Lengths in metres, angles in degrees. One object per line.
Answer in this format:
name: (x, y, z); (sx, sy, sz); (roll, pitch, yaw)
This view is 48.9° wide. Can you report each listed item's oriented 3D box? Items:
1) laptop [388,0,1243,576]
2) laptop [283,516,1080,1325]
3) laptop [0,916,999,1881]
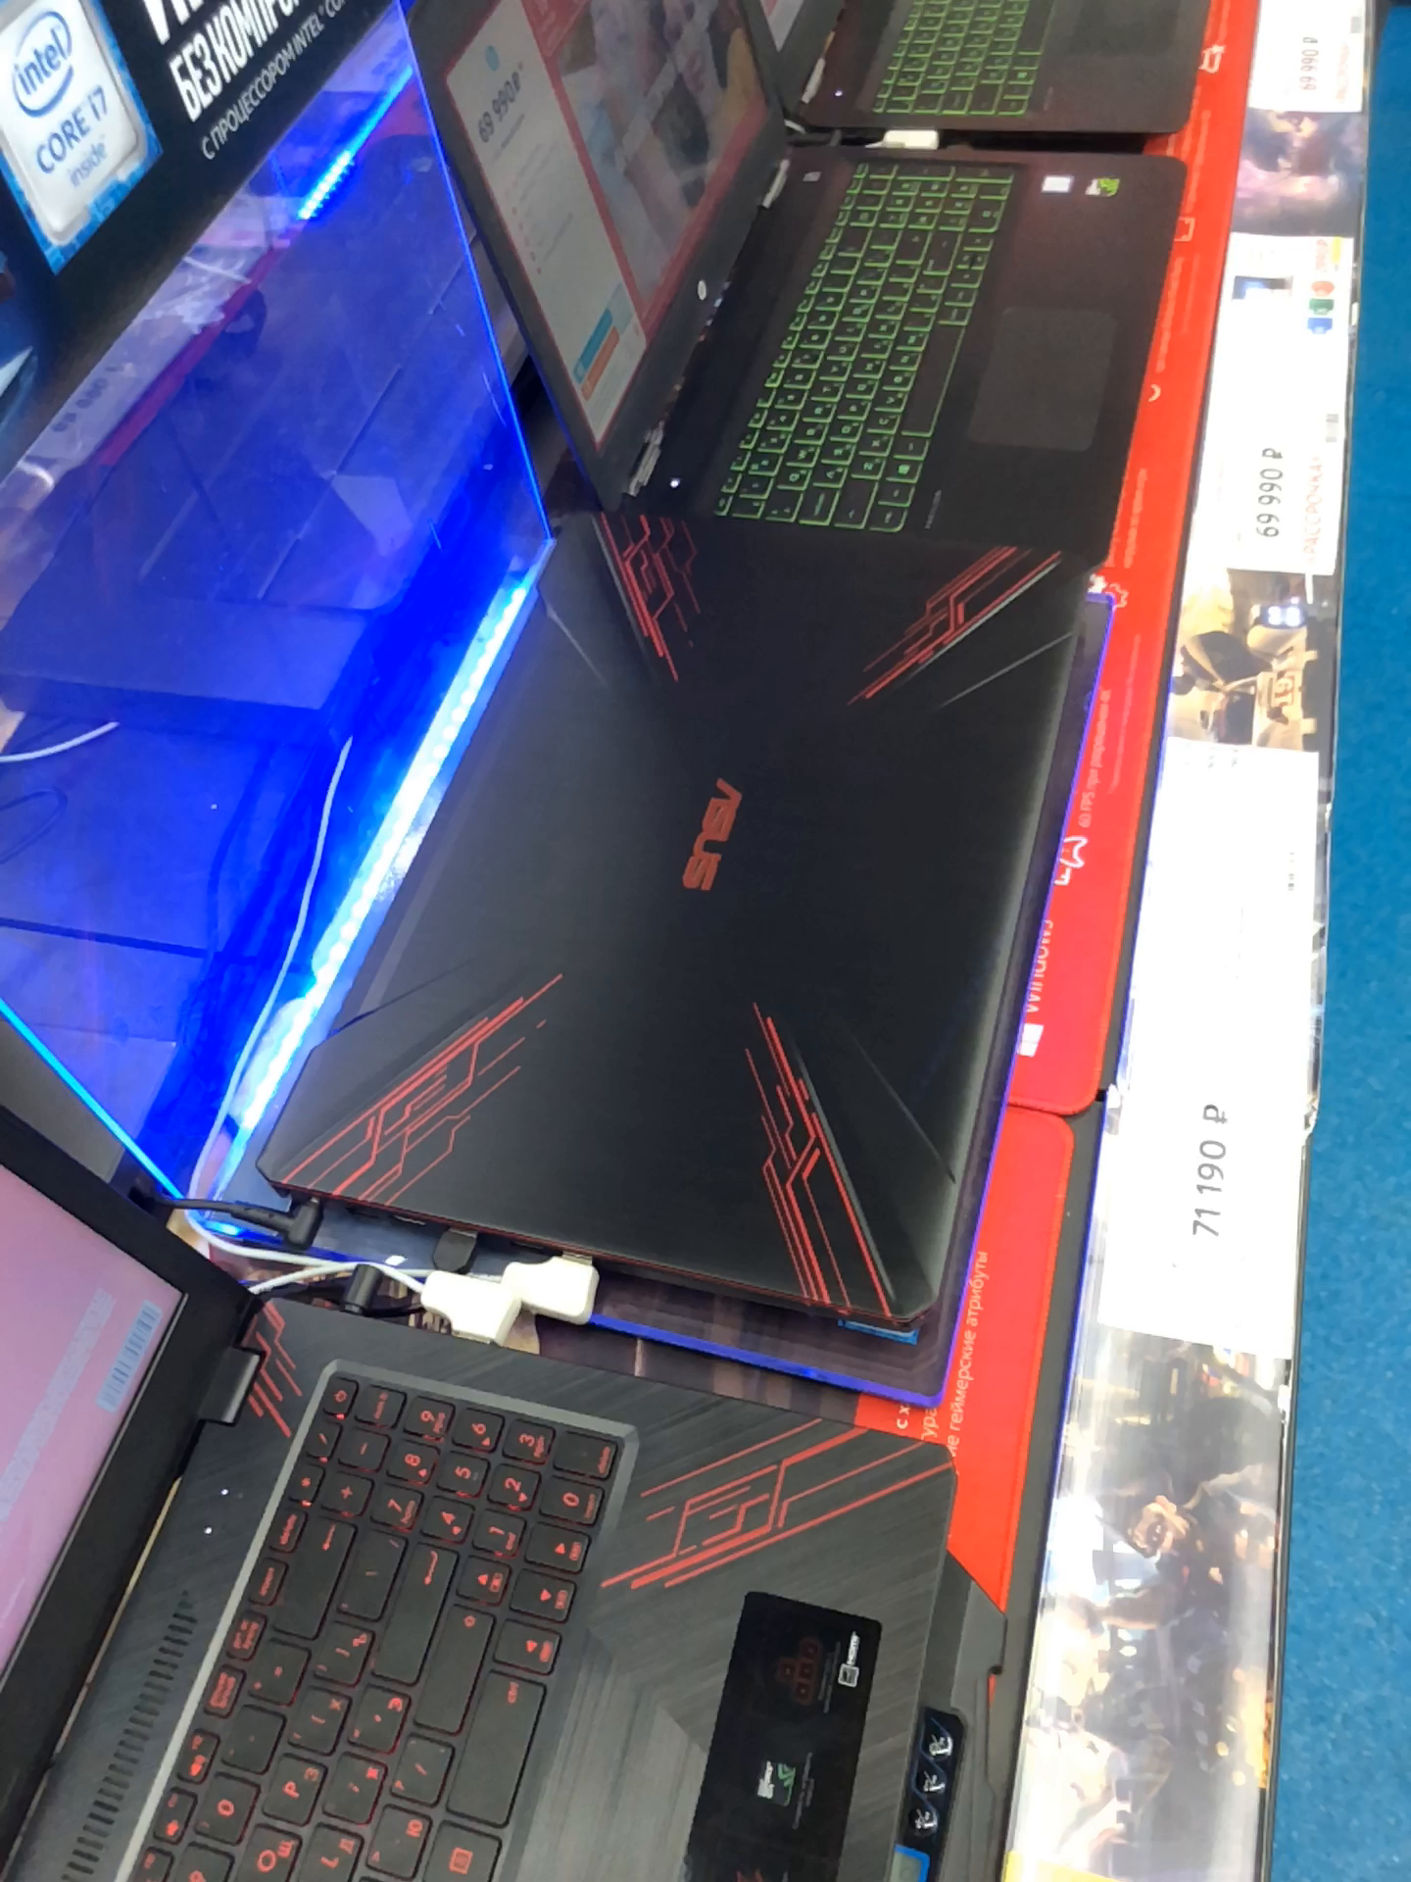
laptop: (0.084, -0.417, 0.780); (0.292, 0.242, 0.375); (9, 57, 14)
laptop: (0.008, -0.041, 0.652); (0.243, 0.006, 0.374); (9, 57, 14)
laptop: (-0.129, 0.234, 0.330); (0.318, 0.231, 0.391); (7, 57, 14)
